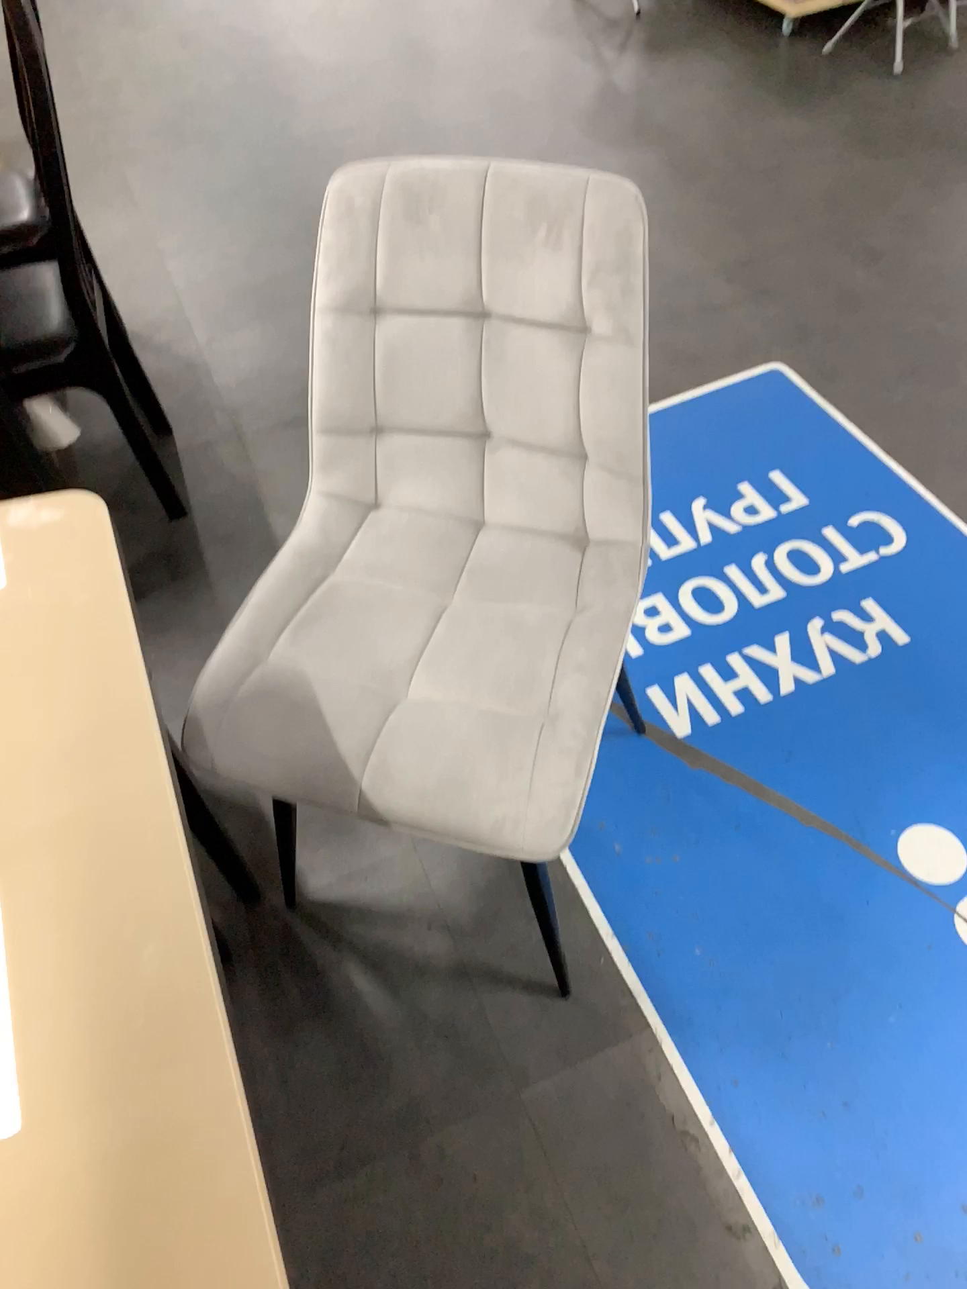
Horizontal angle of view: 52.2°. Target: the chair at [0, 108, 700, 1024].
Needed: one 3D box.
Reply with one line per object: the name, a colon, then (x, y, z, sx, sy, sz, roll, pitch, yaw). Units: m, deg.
chair: (-0.057, -0.041, 1.279, 0.480, 0.976, 0.602, 12, 53, 17)
